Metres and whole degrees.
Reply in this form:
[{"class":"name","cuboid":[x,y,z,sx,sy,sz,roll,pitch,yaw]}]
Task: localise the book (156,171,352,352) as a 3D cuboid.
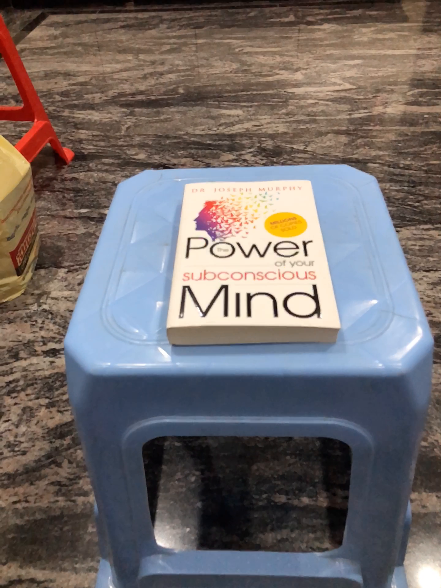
[{"class":"book","cuboid":[0.025,-0.039,0.427,0.140,0.030,0.201,-1,46,2]}]
